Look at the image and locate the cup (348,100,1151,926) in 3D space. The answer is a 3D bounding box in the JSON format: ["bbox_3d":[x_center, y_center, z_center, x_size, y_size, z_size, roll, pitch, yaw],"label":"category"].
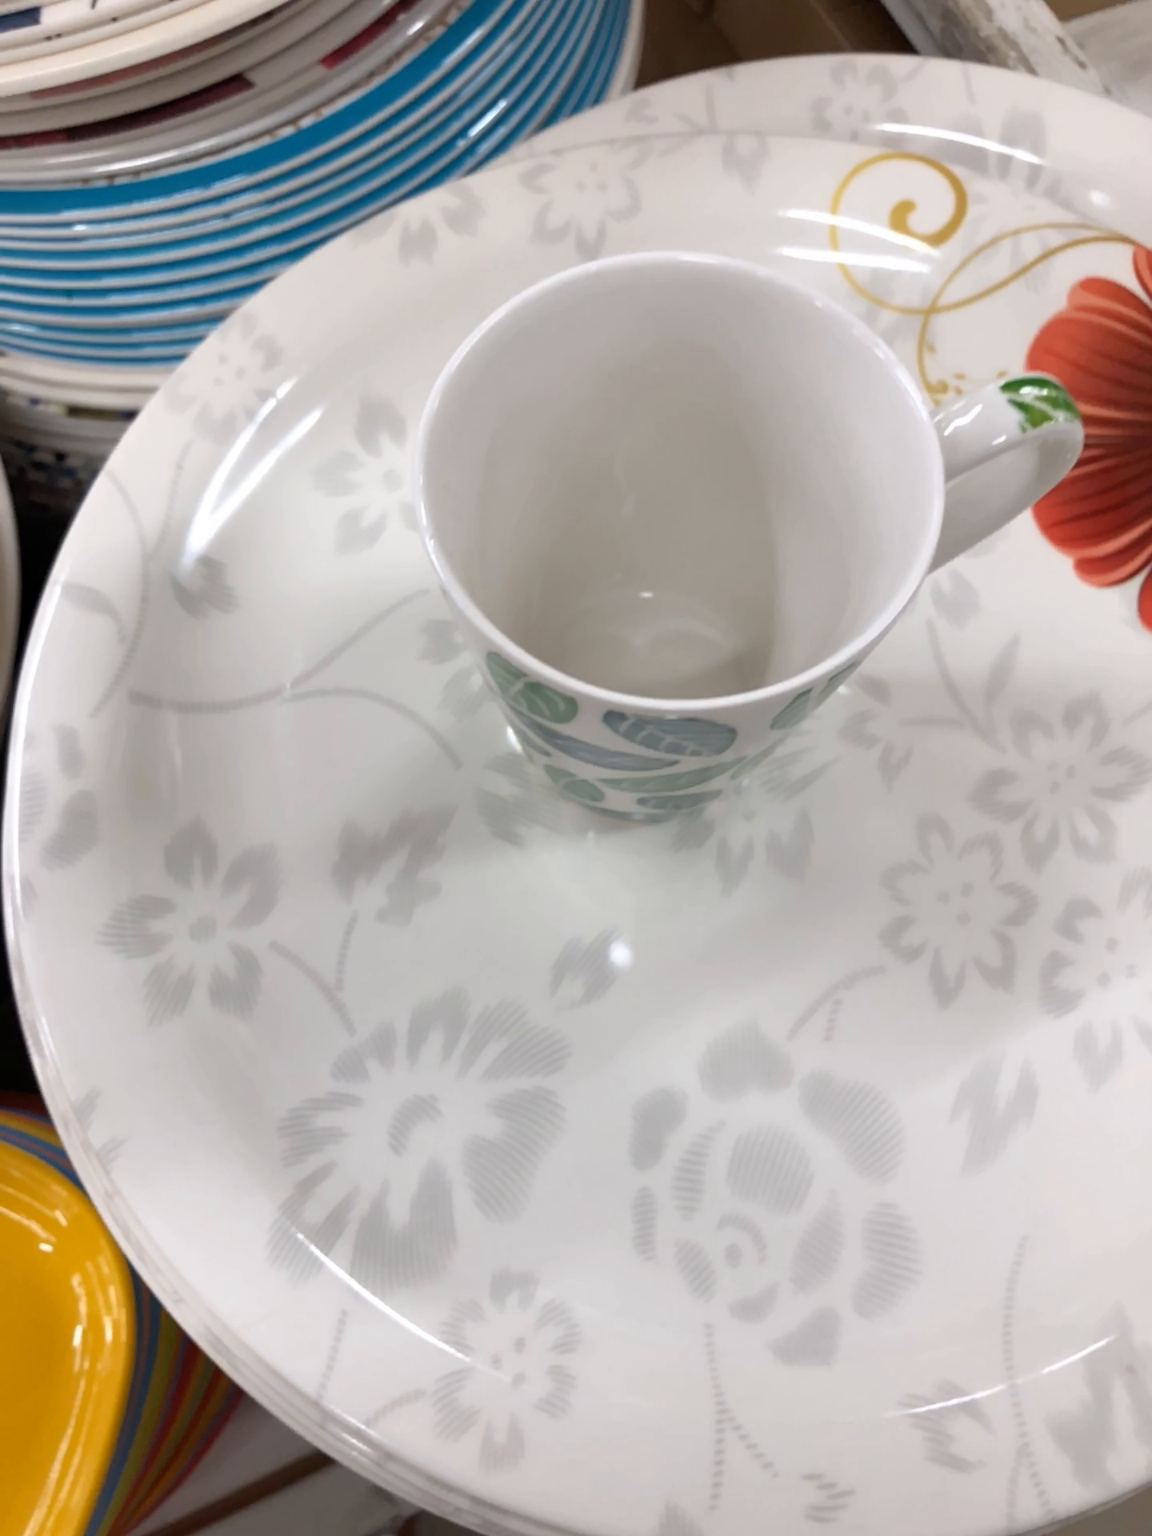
[{"bbox_3d":[0.033,-0.041,0.264,0.120,0.120,0.080,-25,74,-10],"label":"cup"}]
